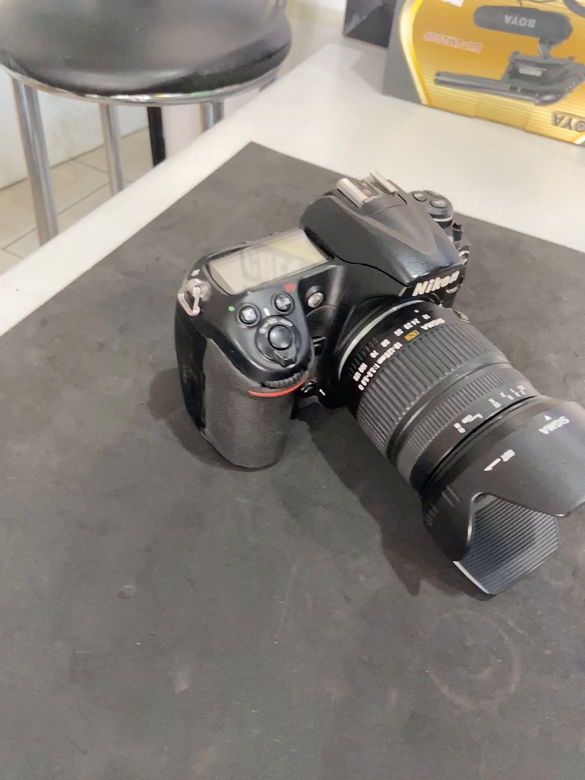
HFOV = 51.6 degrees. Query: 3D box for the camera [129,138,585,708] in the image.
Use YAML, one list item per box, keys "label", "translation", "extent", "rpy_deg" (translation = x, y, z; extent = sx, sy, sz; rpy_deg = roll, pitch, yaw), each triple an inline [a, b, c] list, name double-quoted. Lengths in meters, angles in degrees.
- label: "camera"
  translation: [0.049, -0.006, 0.271]
  extent: [0.170, 0.109, 0.181]
  rpy_deg: [-22, 53, -23]
